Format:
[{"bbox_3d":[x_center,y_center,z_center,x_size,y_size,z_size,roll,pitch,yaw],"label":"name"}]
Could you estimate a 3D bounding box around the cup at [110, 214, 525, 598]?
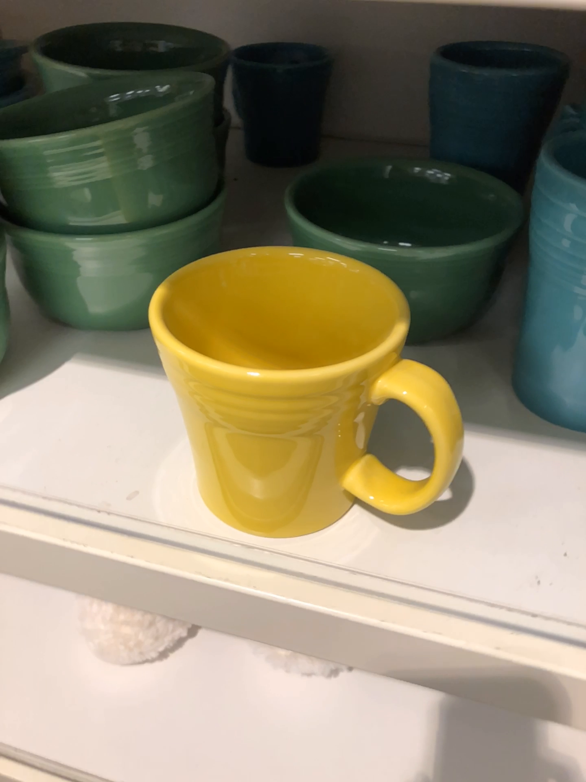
[{"bbox_3d":[0.014,0.000,0.288,0.137,0.100,0.097,15,42,17],"label":"cup"}]
